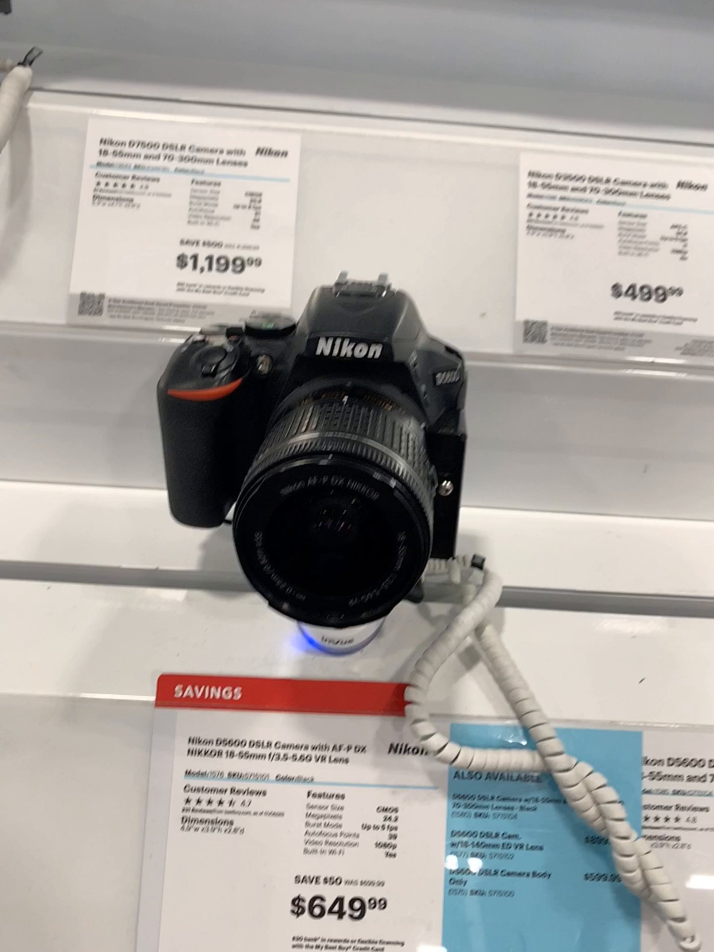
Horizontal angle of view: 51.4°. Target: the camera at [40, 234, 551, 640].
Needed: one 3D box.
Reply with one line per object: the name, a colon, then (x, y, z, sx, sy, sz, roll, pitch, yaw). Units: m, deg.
camera: (-0.016, -0.023, 0.262, 0.130, 0.090, 0.121, 4, 29, 1)
